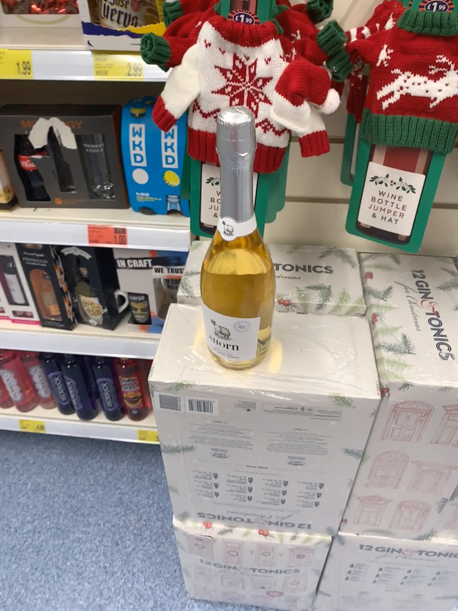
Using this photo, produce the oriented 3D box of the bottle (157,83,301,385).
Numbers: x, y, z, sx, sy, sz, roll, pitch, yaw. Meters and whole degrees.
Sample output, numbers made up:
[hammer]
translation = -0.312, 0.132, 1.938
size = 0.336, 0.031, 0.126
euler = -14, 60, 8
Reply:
[bottle]
translation = 0.003, -0.062, 0.509
size = 0.094, 0.299, 0.095
euler = 0, 39, 0
